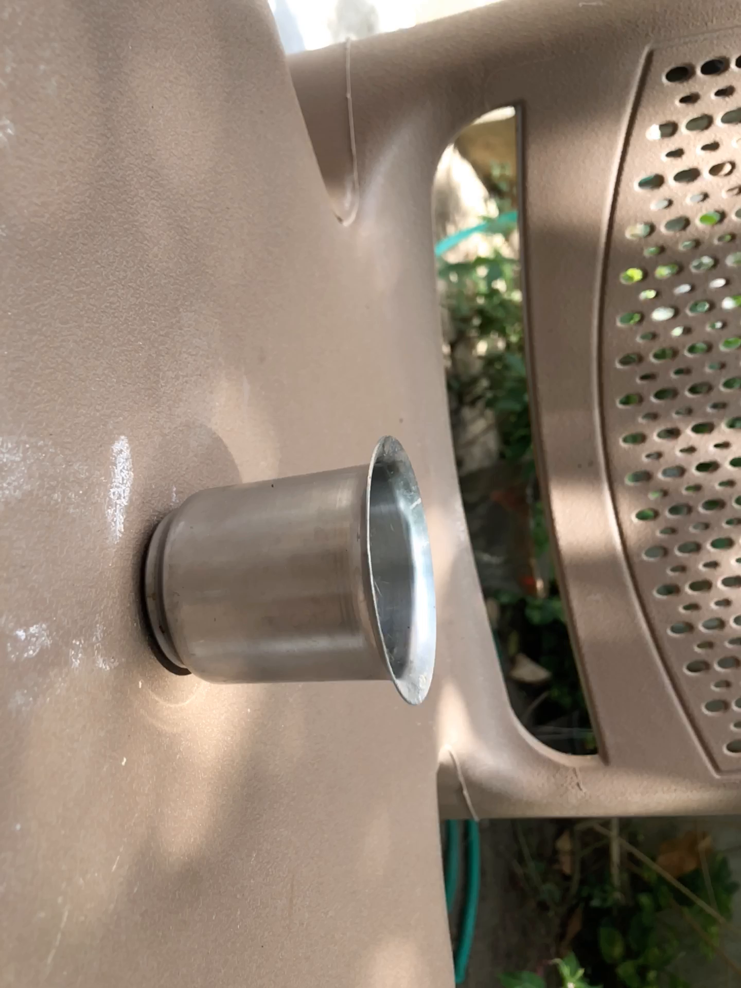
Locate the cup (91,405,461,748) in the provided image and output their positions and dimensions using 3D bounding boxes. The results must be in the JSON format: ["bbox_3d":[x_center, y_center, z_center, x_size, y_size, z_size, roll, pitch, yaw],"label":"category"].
[{"bbox_3d":[-0.017,0.024,0.202,0.060,0.060,0.060,-6,90,-68],"label":"cup"}]
